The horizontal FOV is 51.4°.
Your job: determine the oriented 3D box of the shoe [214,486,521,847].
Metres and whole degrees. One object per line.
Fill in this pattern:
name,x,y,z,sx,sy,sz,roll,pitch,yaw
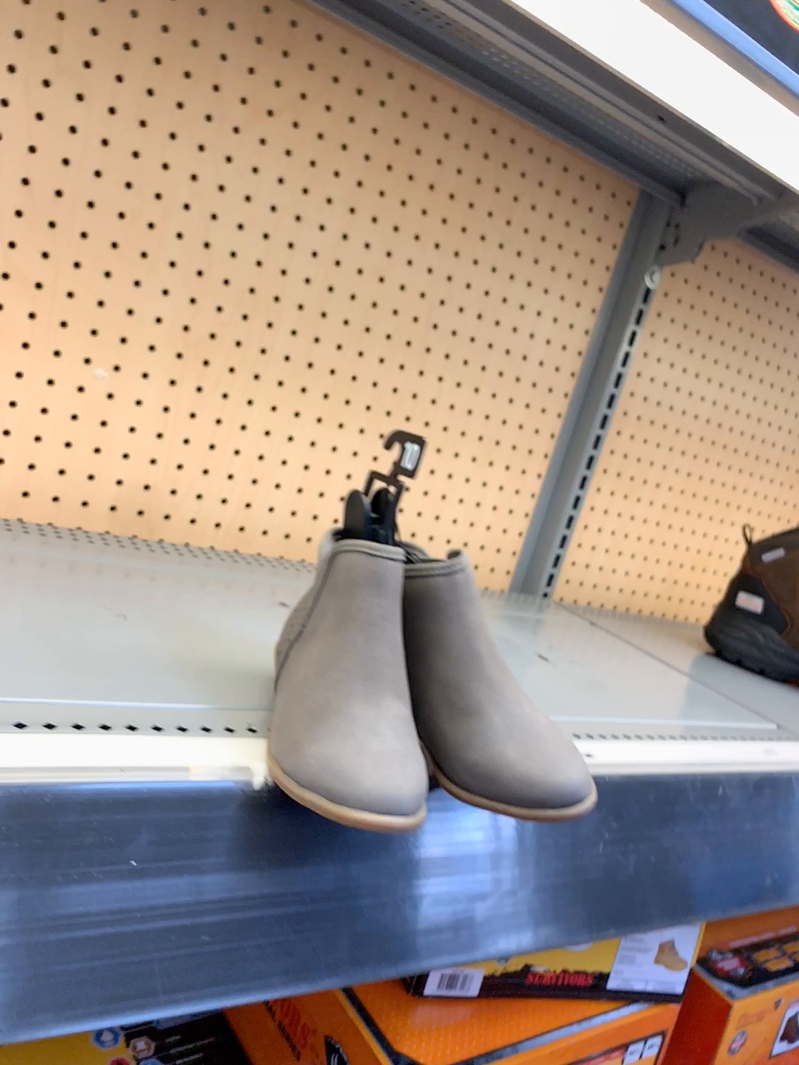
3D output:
shoe,-0.032,0.054,0.424,0.087,0.103,0.197,10,12,-20

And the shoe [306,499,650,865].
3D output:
shoe,0.028,0.064,0.449,0.074,0.113,0.187,-9,22,-34
